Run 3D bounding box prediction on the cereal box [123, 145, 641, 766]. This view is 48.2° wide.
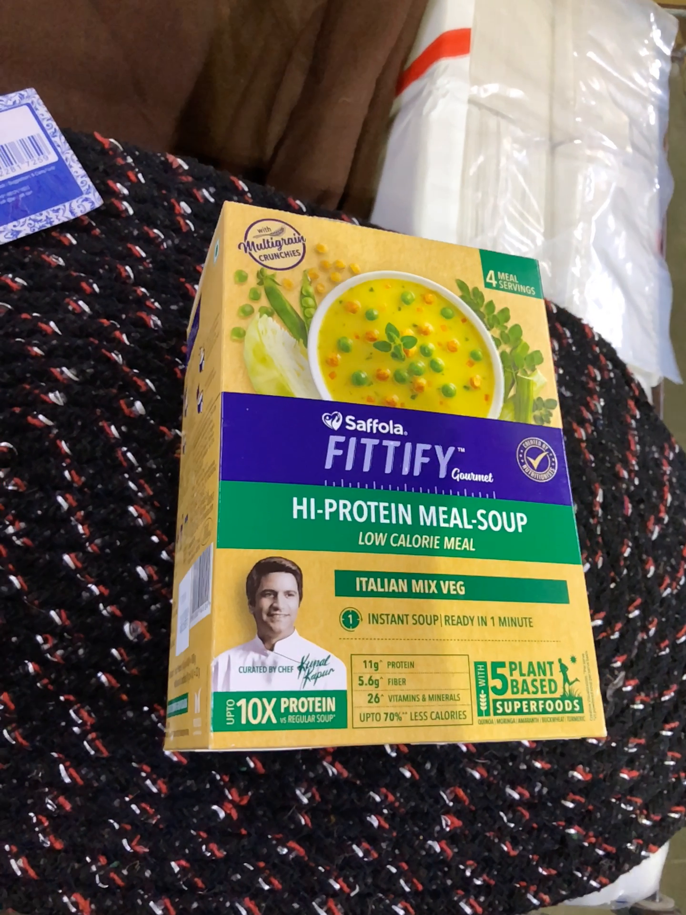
[{"bbox_3d":[0.004,0.007,0.252,0.130,0.080,0.170,6,68,-18],"label":"cereal box"}]
